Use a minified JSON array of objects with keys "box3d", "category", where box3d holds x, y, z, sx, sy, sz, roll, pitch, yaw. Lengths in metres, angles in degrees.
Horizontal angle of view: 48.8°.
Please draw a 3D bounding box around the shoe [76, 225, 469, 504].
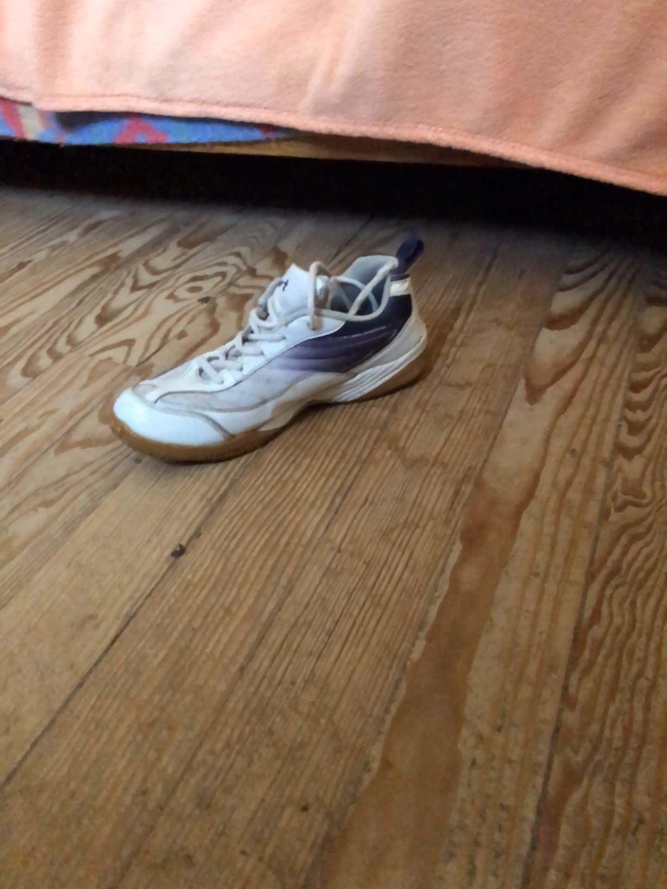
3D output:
[{"box3d":[-0.039,-0.070,0.554,0.261,0.099,0.110,-20,39,-18],"category":"shoe"}]
